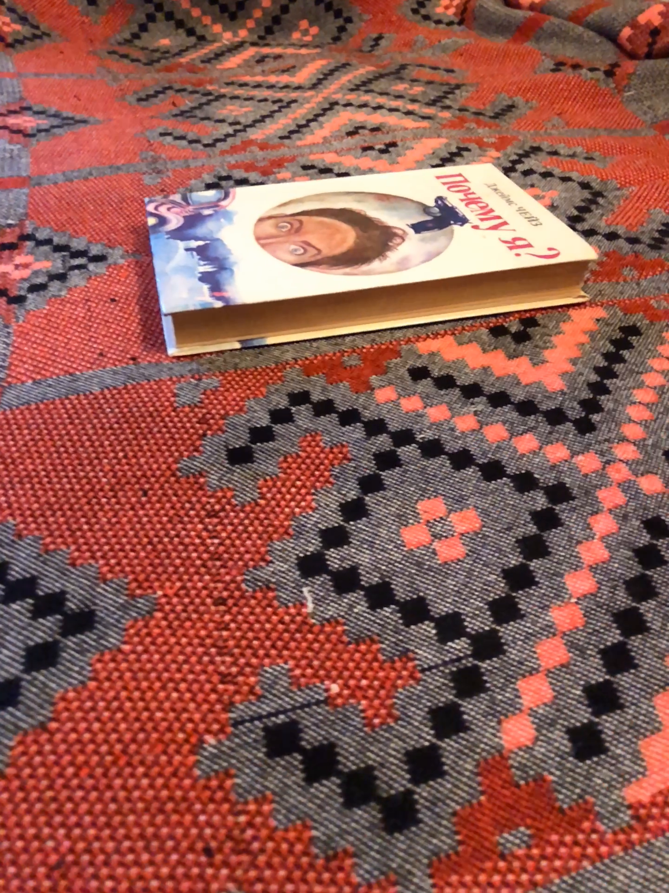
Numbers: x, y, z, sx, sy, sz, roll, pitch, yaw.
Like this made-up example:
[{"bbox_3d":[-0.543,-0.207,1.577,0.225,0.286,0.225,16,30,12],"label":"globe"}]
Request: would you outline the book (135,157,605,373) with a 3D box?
[{"bbox_3d":[0.008,-0.101,0.378,0.204,0.029,0.134,-10,41,-11],"label":"book"}]
